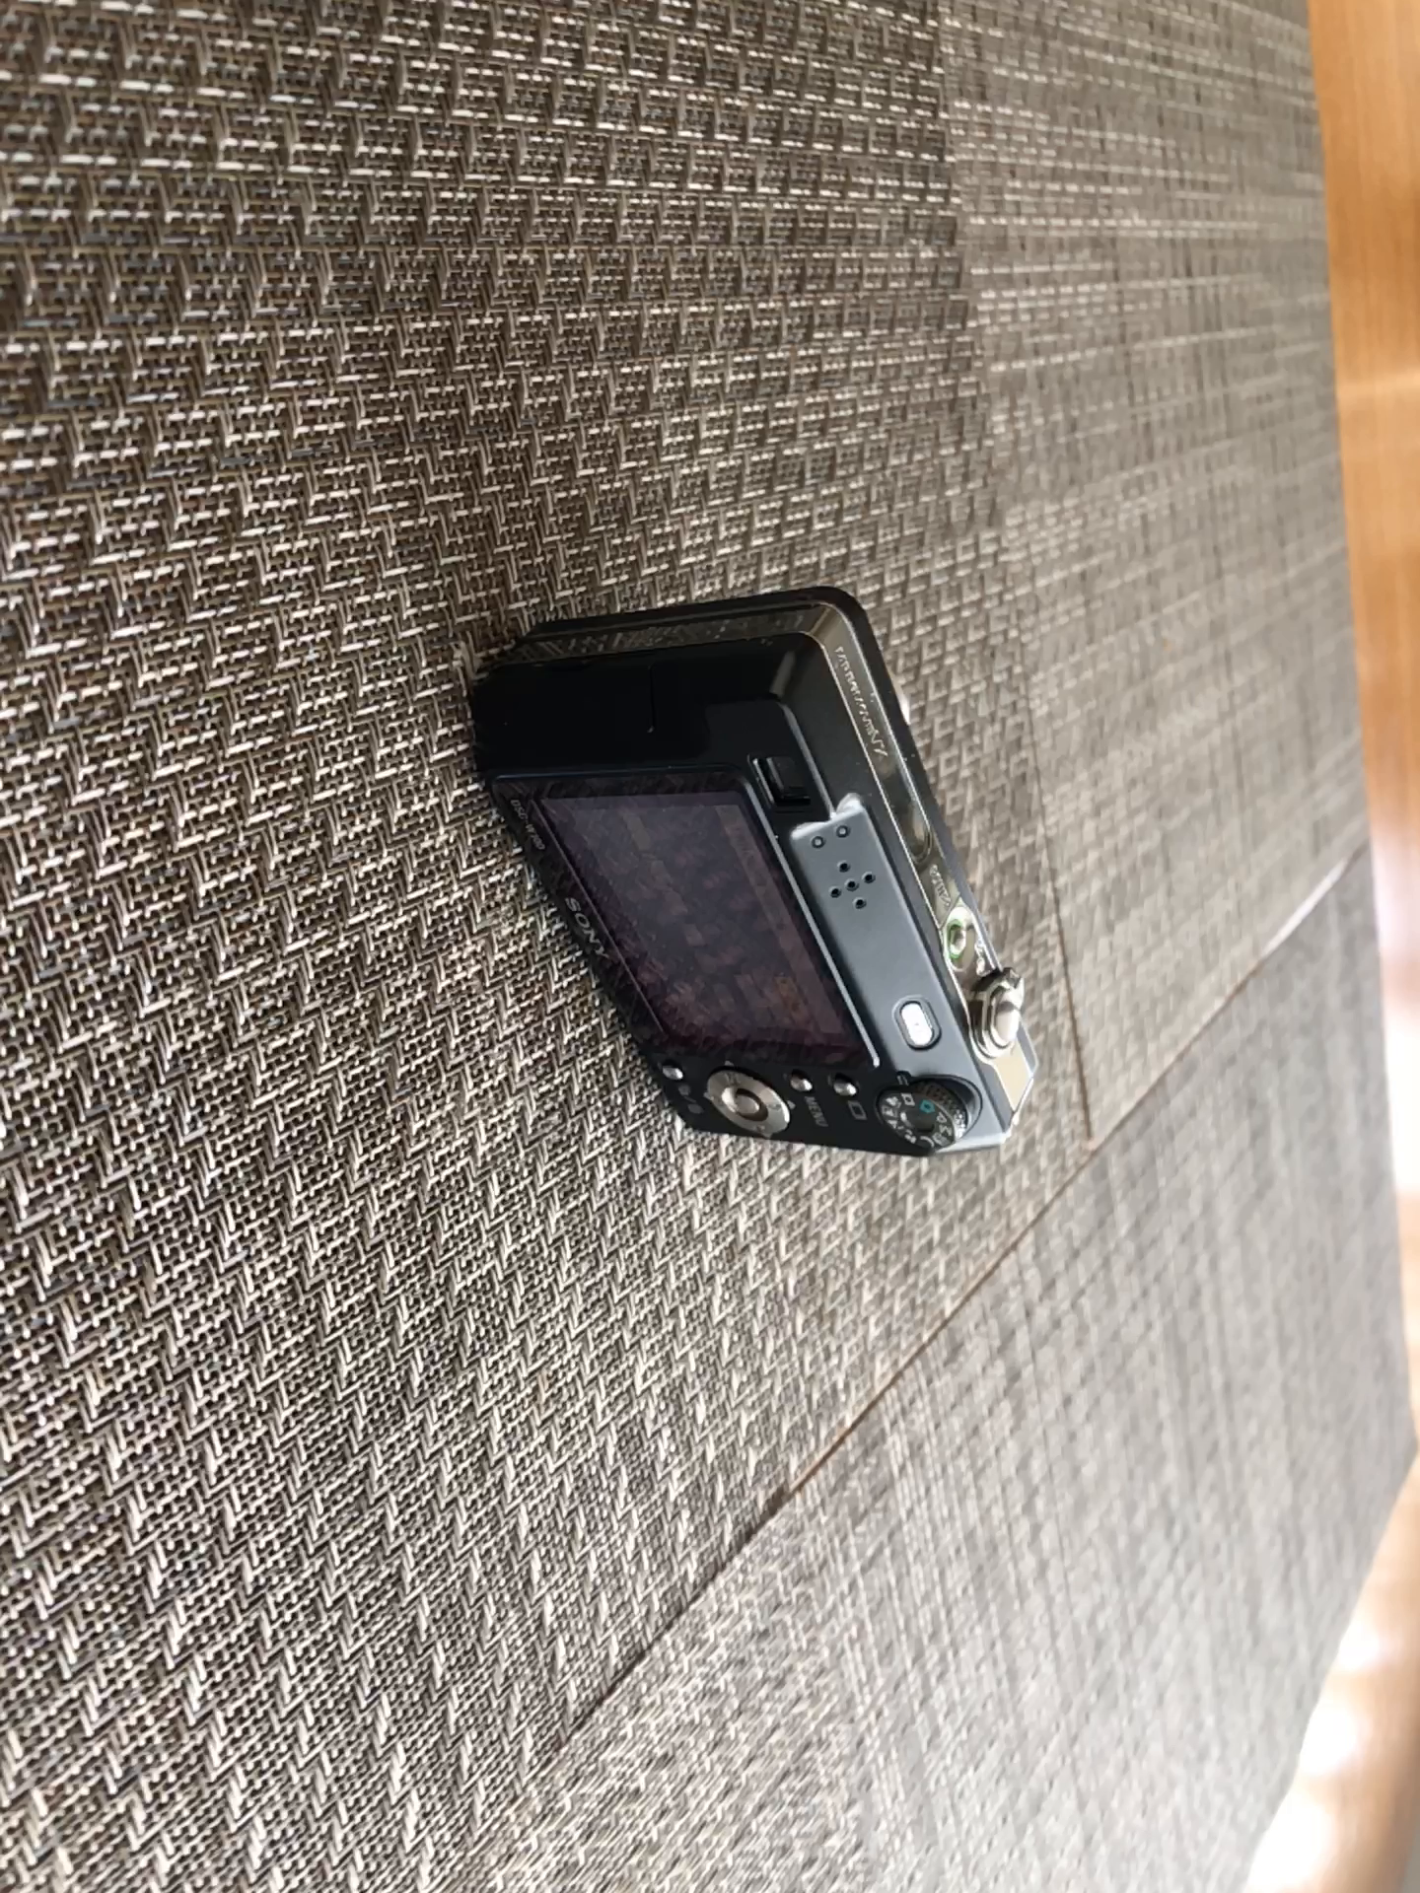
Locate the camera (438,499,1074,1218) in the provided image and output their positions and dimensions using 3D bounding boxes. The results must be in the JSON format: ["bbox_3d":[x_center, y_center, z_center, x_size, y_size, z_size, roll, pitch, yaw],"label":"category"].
[{"bbox_3d":[0.012,-0.011,0.246,0.049,0.052,0.095,-55,132,-36],"label":"camera"}]
